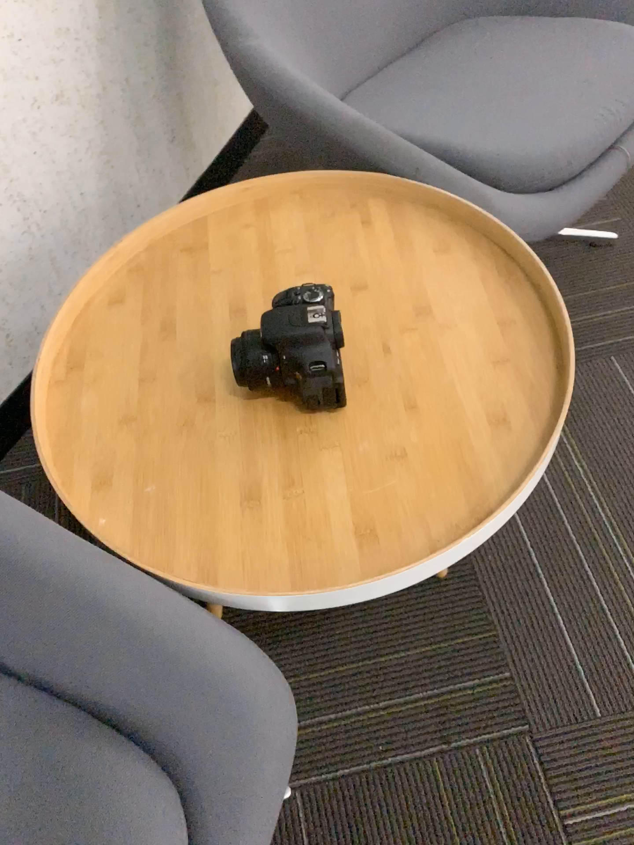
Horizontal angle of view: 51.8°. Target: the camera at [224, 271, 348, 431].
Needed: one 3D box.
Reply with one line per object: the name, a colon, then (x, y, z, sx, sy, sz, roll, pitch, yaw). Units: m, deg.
camera: (-0.033, -0.080, 0.729, 0.120, 0.100, 0.135, -5, 56, 2)
